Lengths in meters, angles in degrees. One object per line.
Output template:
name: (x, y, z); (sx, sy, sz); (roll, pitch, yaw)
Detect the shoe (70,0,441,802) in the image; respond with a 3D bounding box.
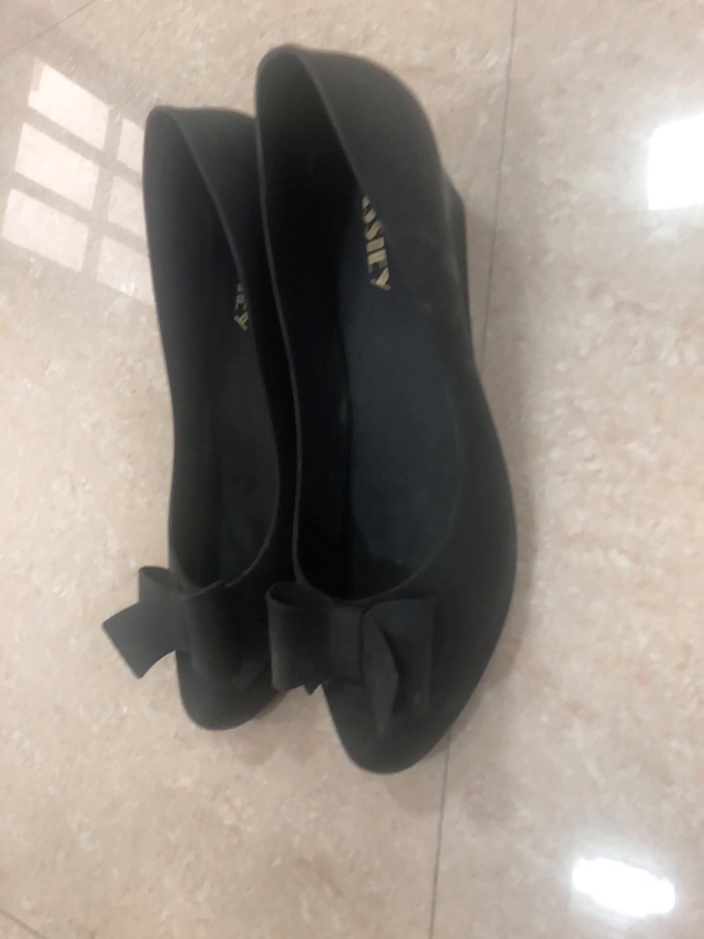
shoe: (-0.038, -0.034, 0.346); (0.090, 0.090, 0.310); (3, 84, 39)

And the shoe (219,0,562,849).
shoe: (0.022, -0.036, 0.307); (0.090, 0.090, 0.310); (-4, 80, 38)
